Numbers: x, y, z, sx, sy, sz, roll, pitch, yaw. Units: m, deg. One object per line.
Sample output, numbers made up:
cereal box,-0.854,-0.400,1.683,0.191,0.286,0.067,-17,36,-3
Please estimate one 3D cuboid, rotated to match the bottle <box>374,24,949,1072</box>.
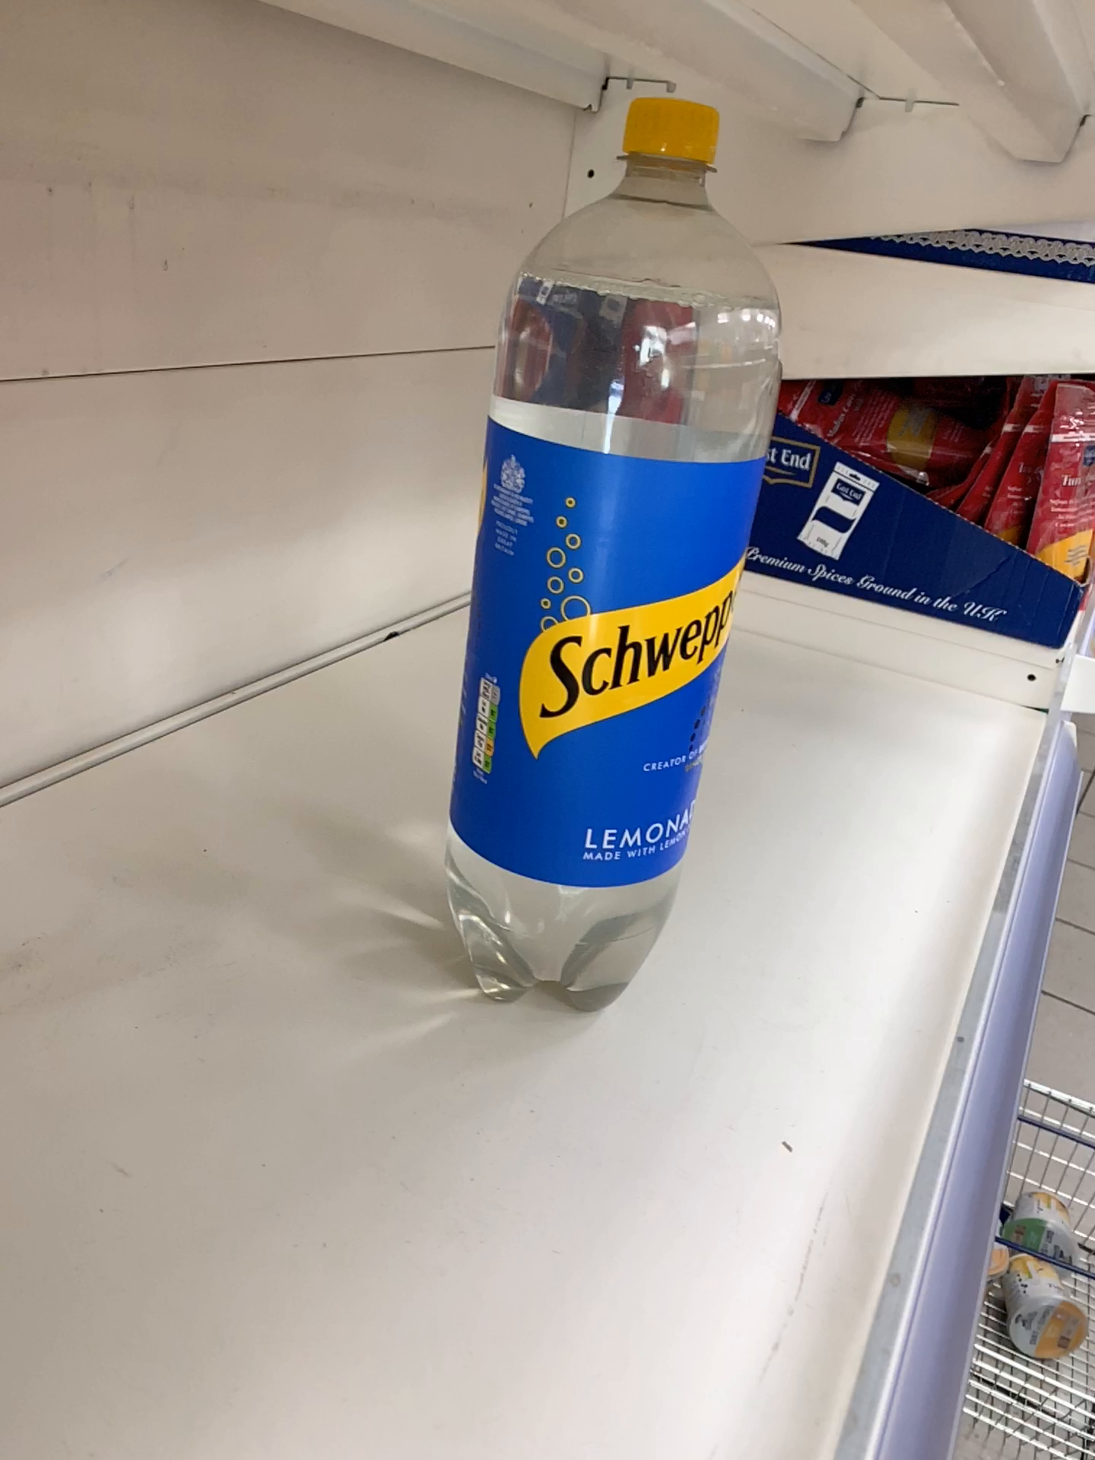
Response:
bottle,0.022,-0.055,0.411,0.110,0.327,0.111,7,24,-3
